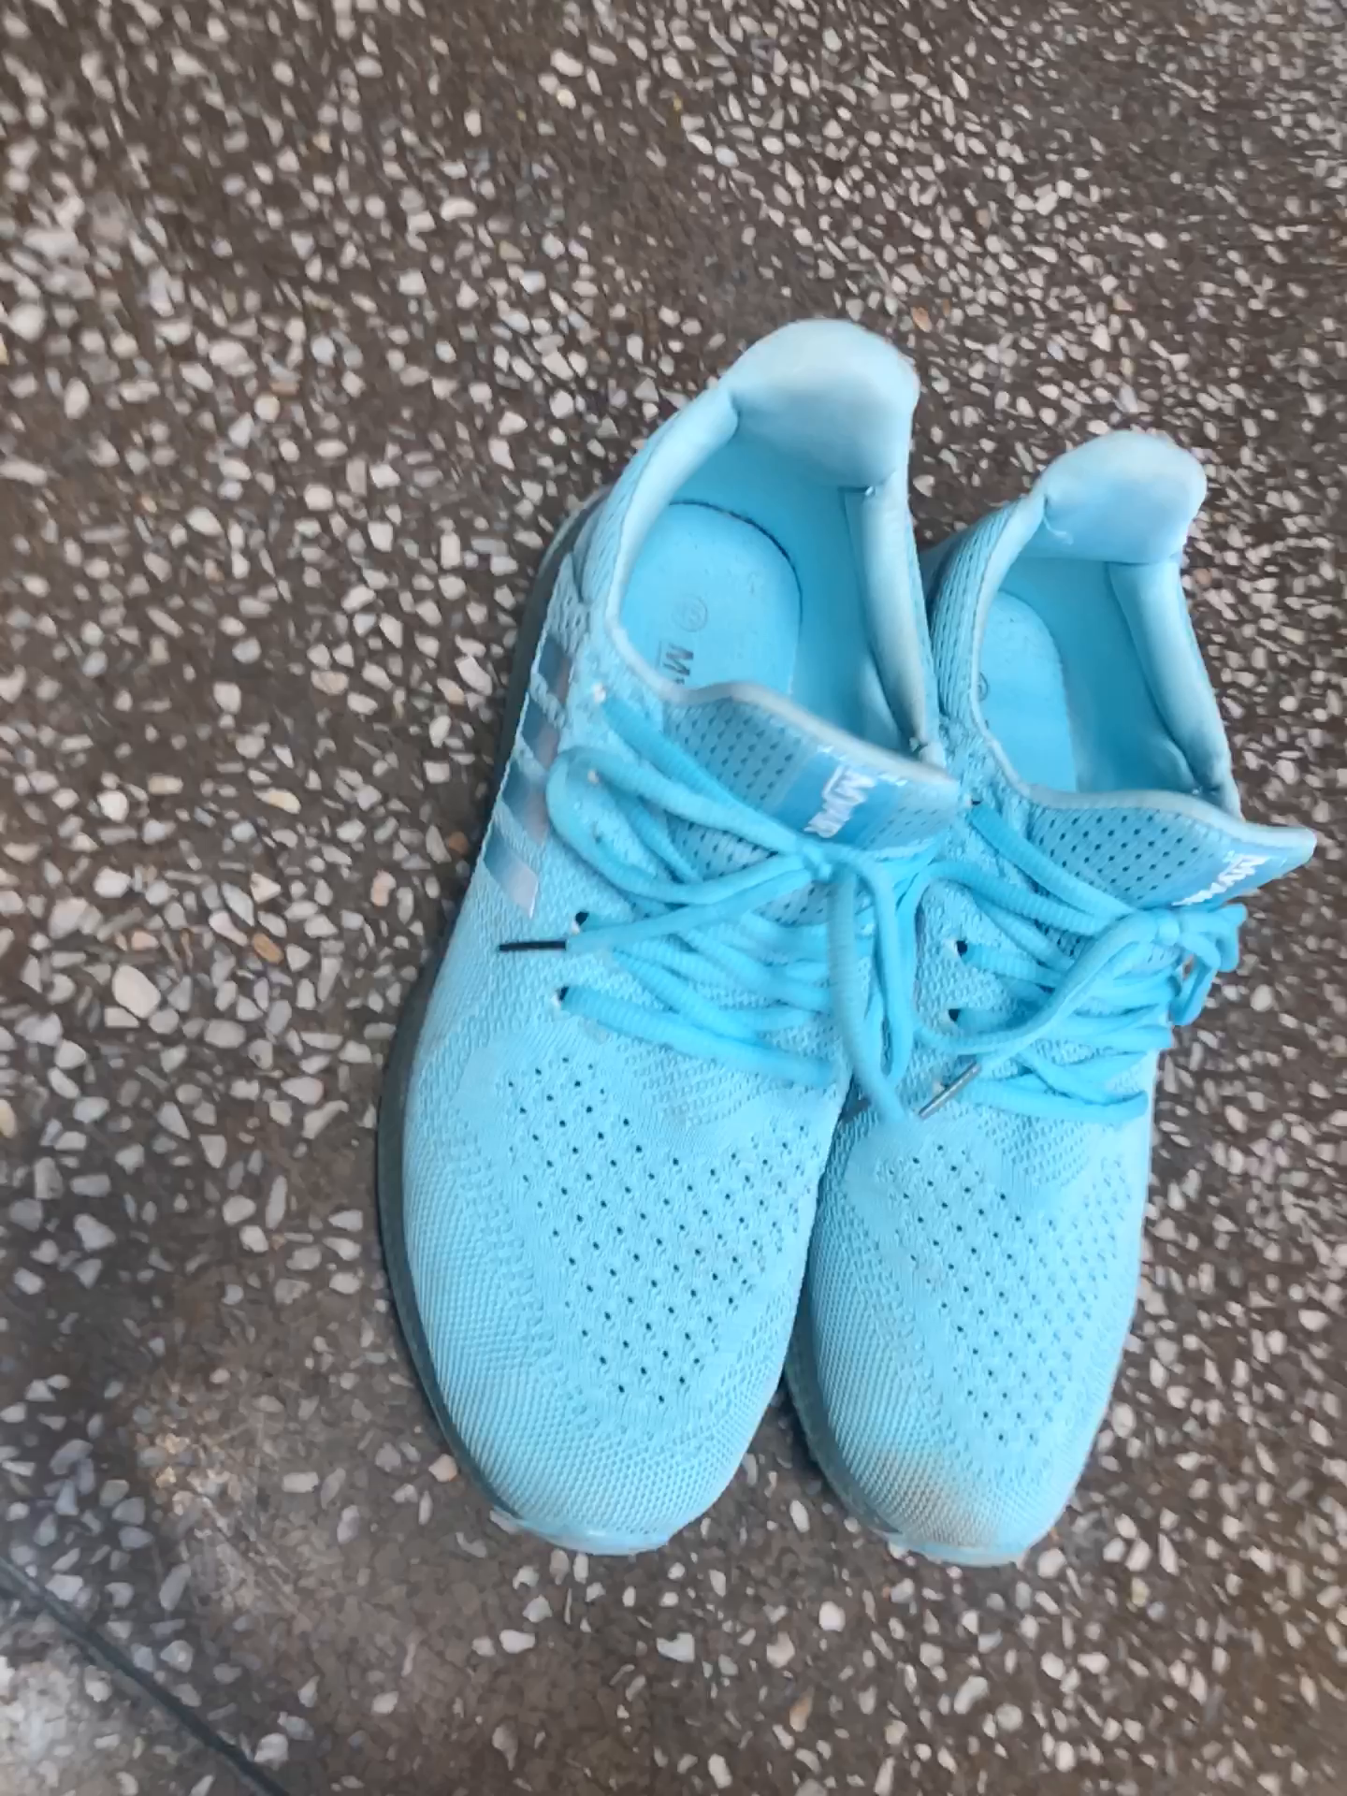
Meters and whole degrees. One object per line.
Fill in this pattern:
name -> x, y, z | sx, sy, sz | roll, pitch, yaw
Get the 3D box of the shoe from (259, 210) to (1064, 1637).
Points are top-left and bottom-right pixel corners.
shoe -> -0.002, 0.010, 0.353 | 0.121, 0.125, 0.271 | 13, 71, -18

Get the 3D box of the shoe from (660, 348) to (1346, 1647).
shoe -> 0.088, 0.028, 0.383 | 0.121, 0.125, 0.271 | 12, 72, -18
